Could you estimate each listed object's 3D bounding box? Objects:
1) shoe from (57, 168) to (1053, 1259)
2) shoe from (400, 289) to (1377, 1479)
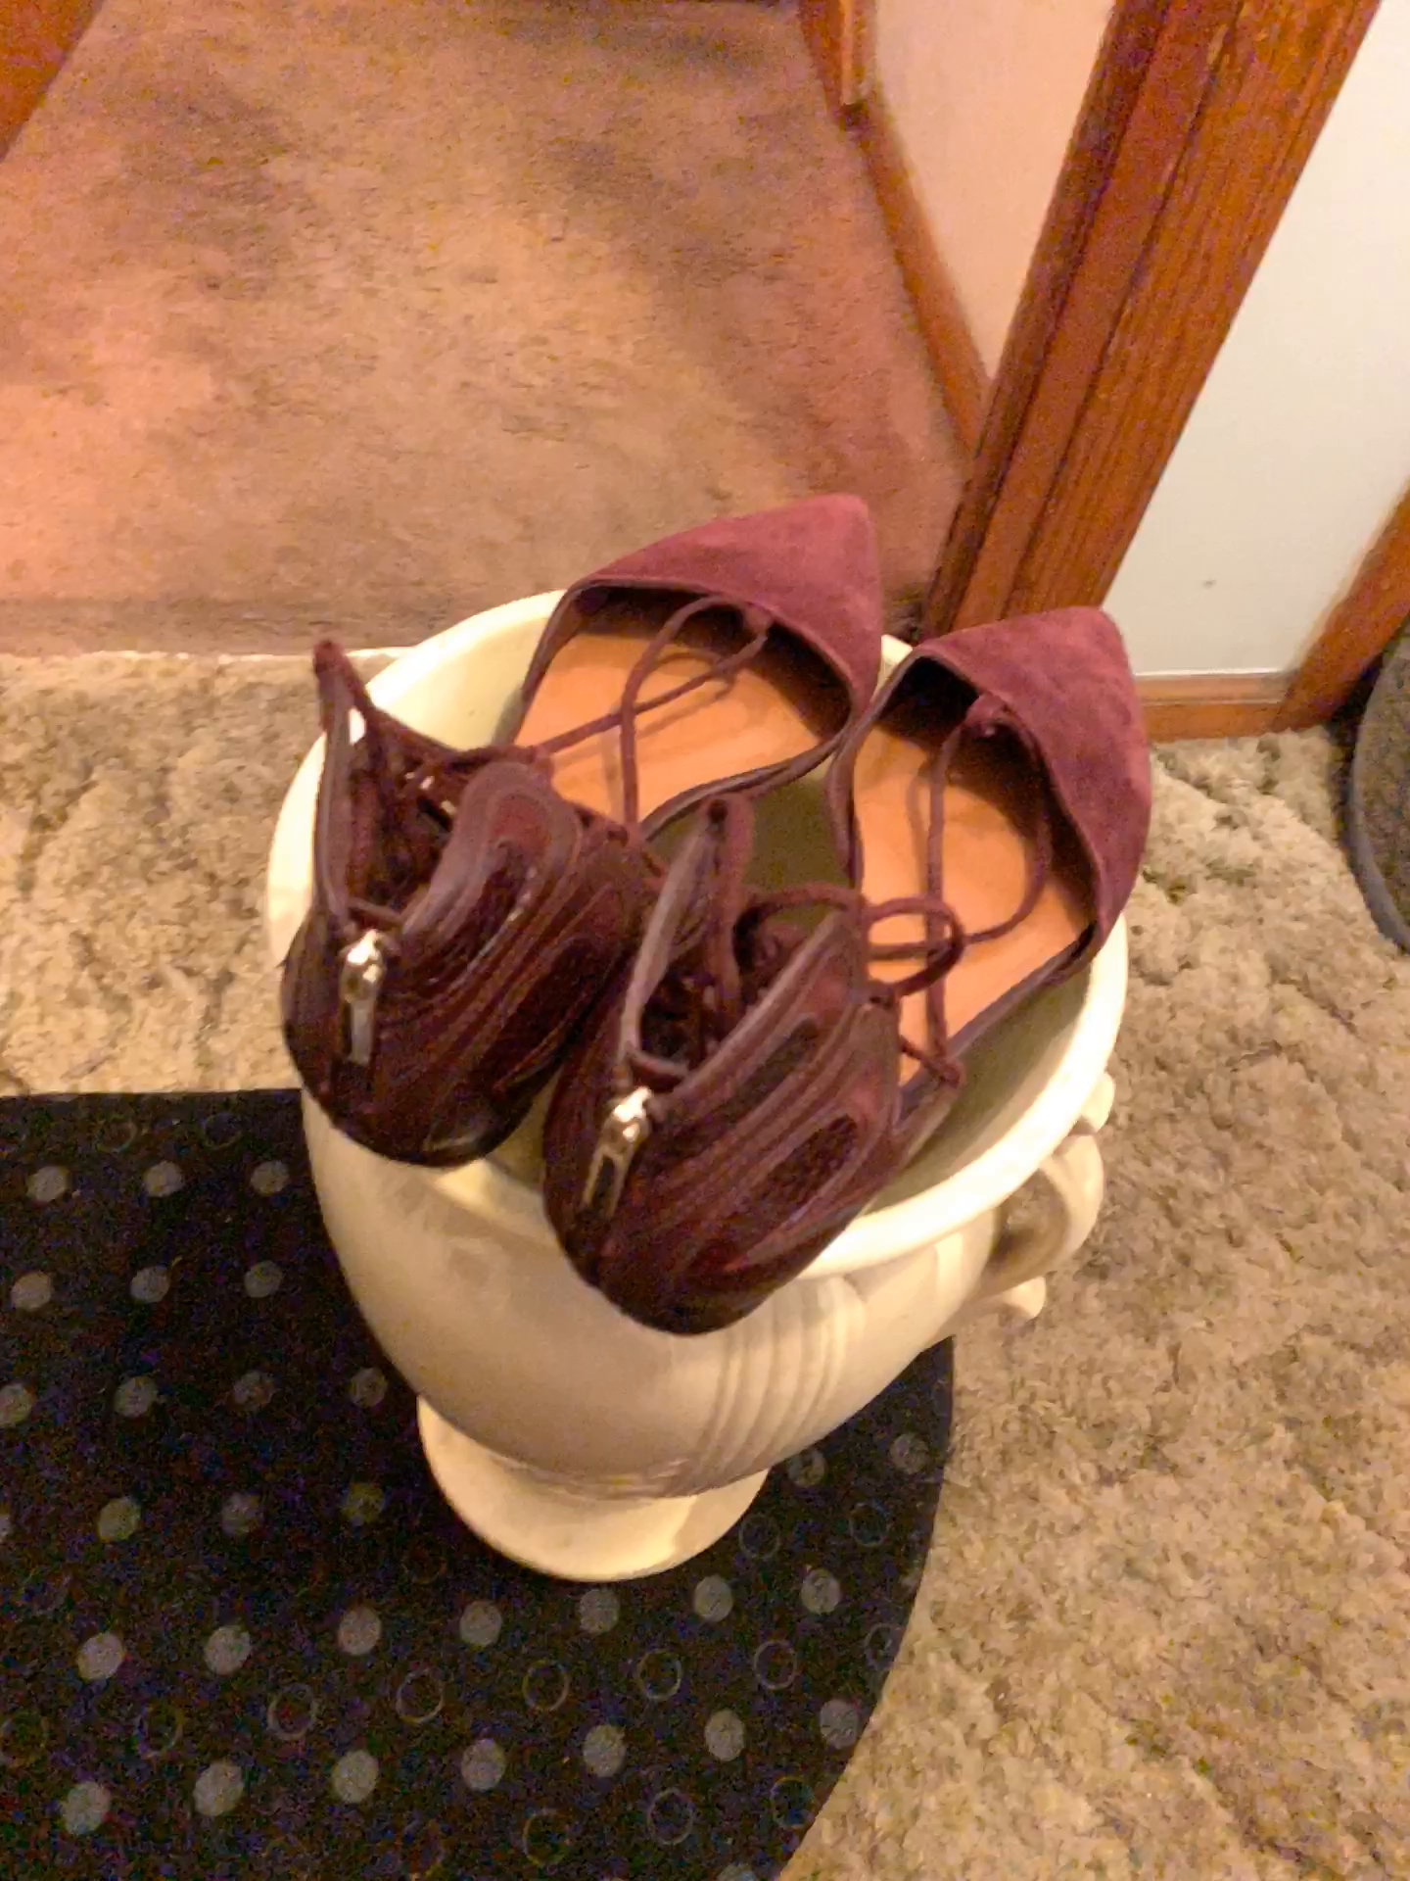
[{"bbox_3d":[-0.017,-0.070,0.355,0.092,0.099,0.262,27,57,10],"label":"shoe"},{"bbox_3d":[0.051,-0.028,0.333,0.092,0.099,0.262,30,57,12],"label":"shoe"}]
